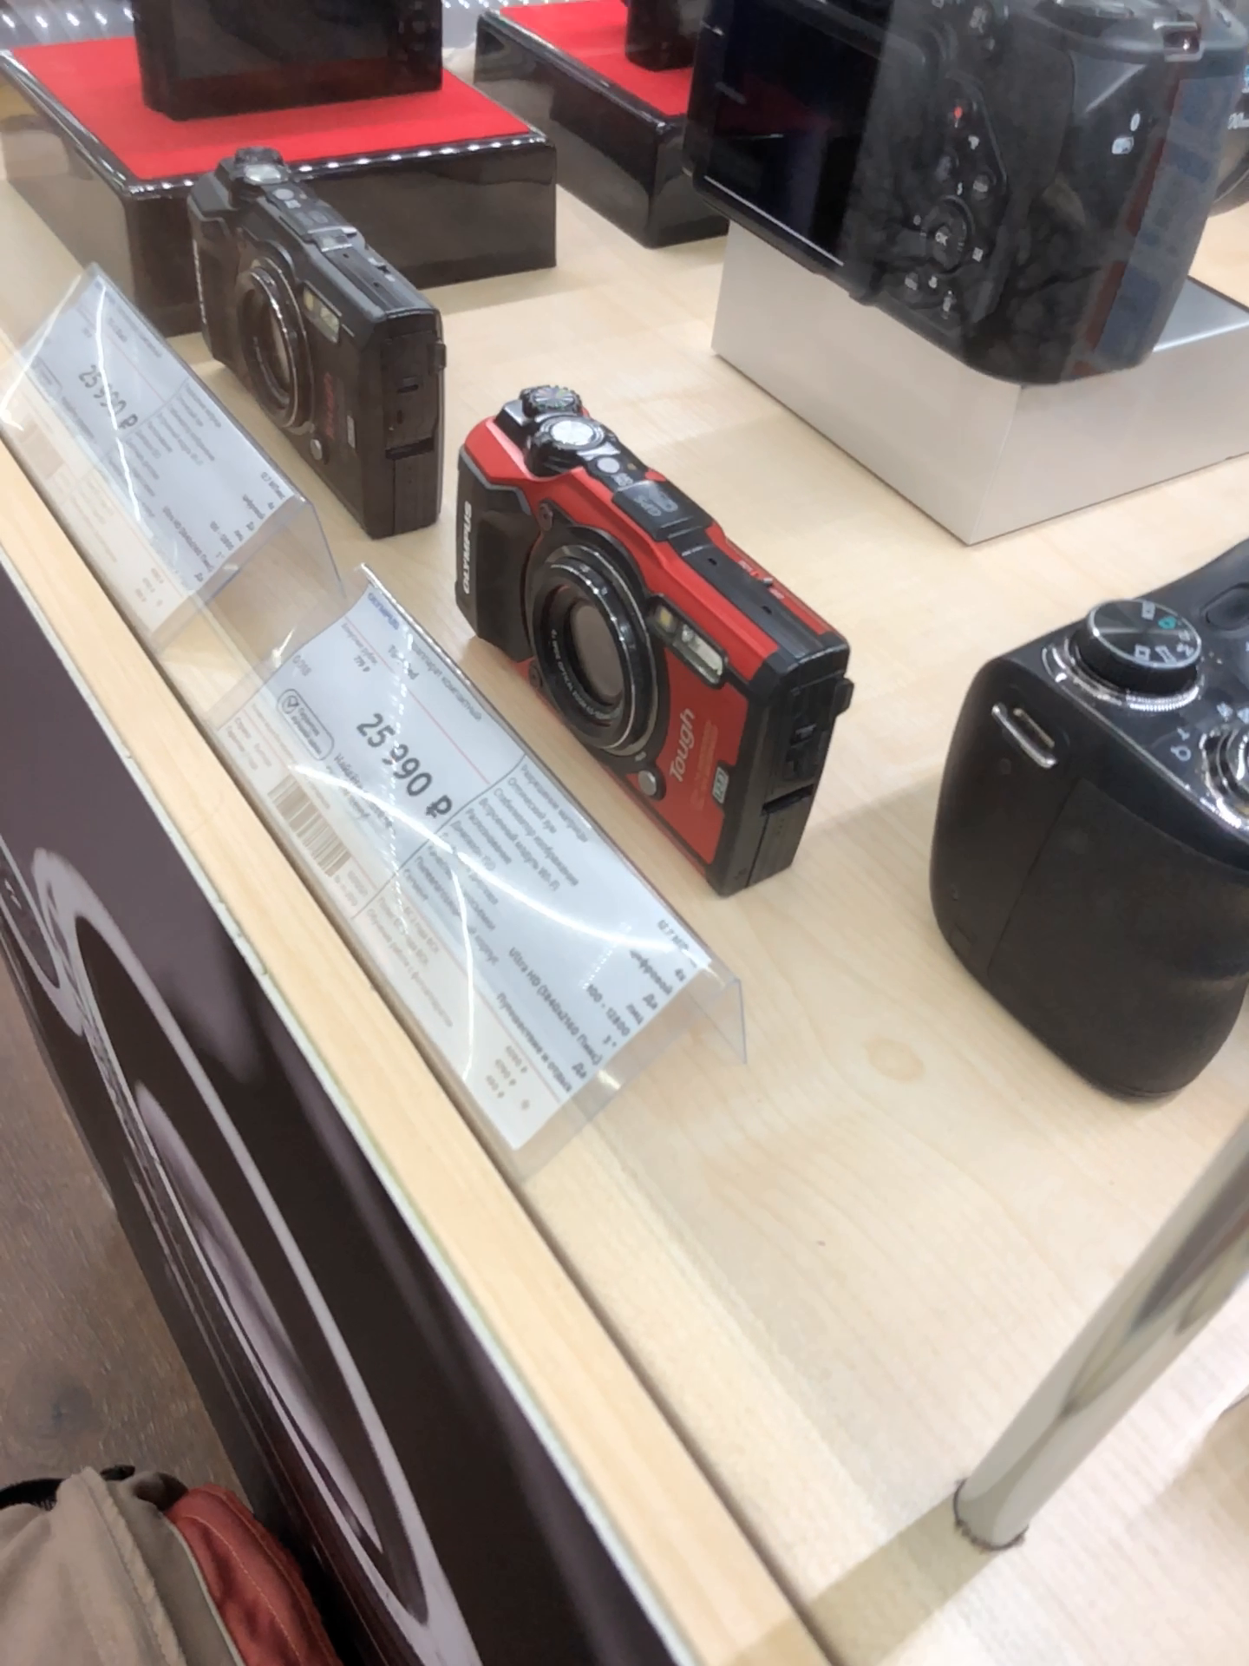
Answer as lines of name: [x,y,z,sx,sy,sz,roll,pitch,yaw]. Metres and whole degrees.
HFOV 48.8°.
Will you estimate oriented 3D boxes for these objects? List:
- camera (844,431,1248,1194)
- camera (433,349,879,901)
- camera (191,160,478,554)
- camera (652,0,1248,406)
camera: [0.126,-0.011,0.274,0.117,0.078,0.094,-22,52,-27]
camera: [-0.001,-0.050,0.305,0.030,0.061,0.119,-22,52,-27]
camera: [-0.085,-0.140,0.400,0.030,0.061,0.117,-22,52,-27]
camera: [0.105,-0.200,0.371,0.127,0.086,0.147,-21,52,-27]
